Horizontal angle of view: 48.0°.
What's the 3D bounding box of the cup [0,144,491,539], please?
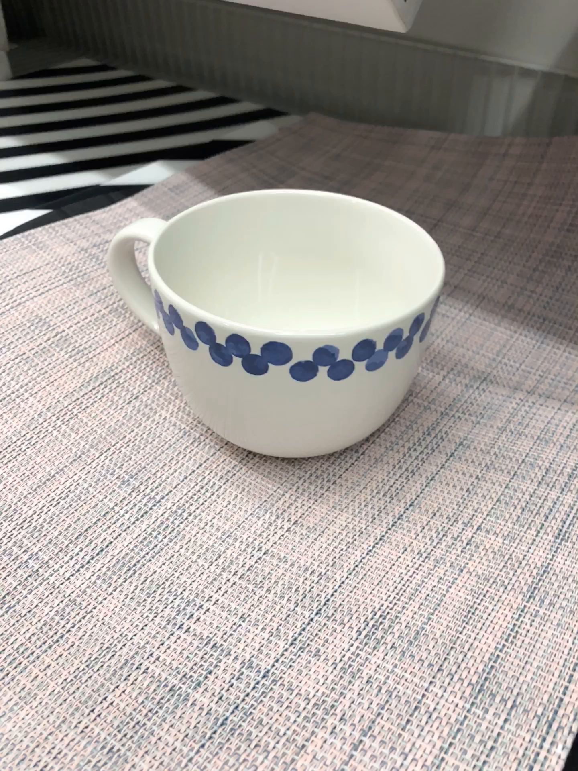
[{"bbox_3d":[-0.020,-0.031,0.246,0.150,0.060,0.110,21,43,22],"label":"cup"}]
